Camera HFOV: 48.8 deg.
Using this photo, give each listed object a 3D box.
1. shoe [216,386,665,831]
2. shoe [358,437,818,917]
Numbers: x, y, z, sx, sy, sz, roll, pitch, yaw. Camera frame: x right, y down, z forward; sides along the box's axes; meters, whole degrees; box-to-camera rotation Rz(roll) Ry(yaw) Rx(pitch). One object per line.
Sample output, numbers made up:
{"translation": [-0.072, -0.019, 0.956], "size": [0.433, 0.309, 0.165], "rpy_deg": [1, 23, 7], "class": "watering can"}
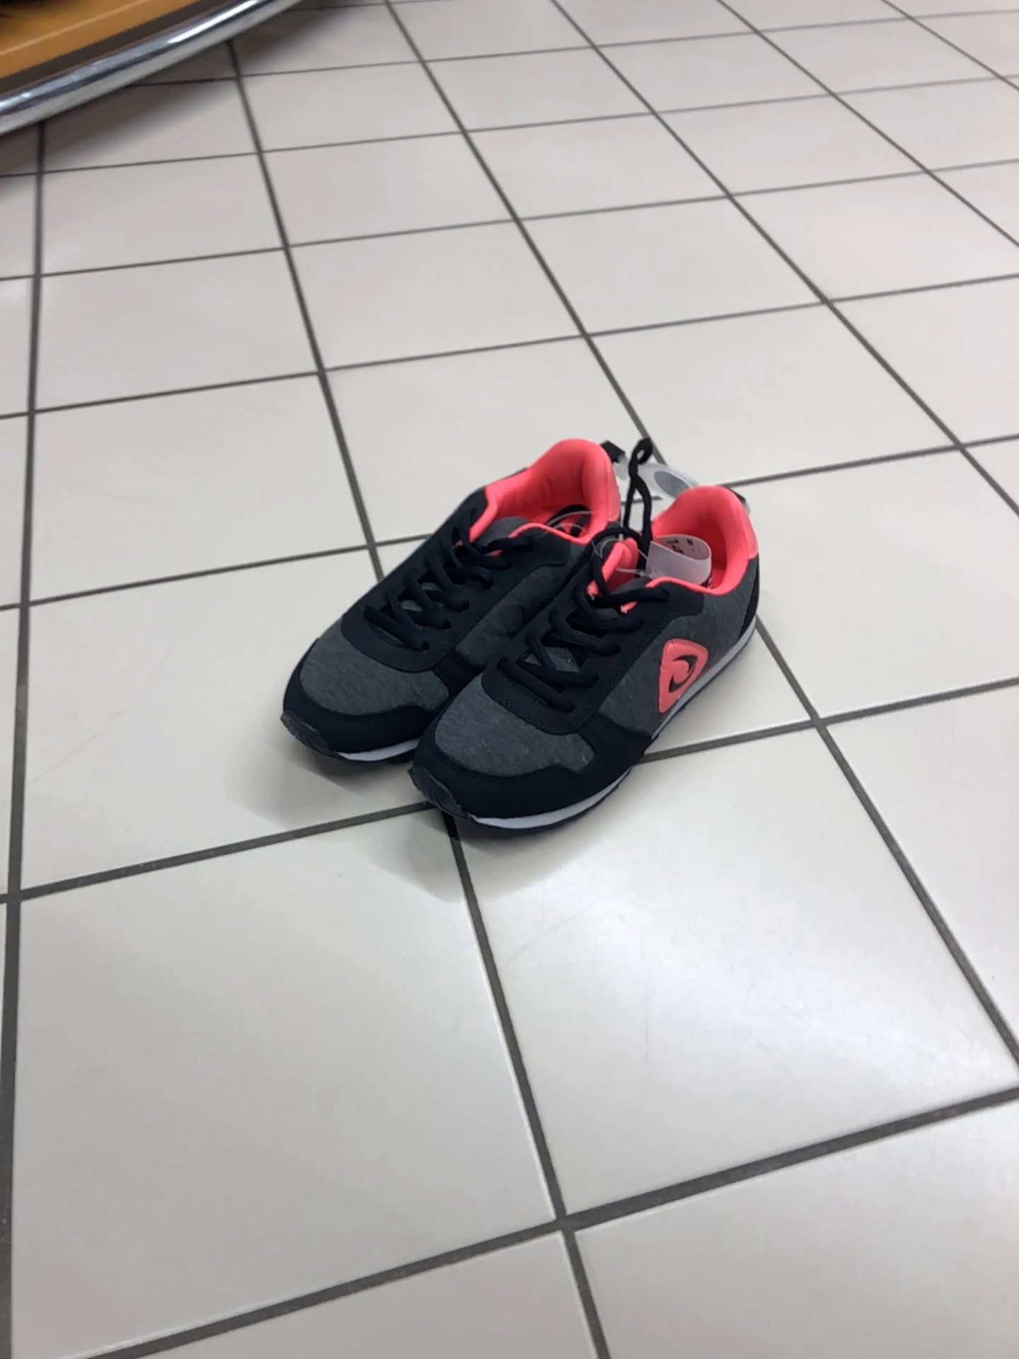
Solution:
{"translation": [-0.025, -0.045, 0.574], "size": [0.090, 0.099, 0.221], "rpy_deg": [31, 54, 26], "class": "shoe"}
{"translation": [0.043, -0.010, 0.542], "size": [0.090, 0.099, 0.221], "rpy_deg": [32, 54, 27], "class": "shoe"}
